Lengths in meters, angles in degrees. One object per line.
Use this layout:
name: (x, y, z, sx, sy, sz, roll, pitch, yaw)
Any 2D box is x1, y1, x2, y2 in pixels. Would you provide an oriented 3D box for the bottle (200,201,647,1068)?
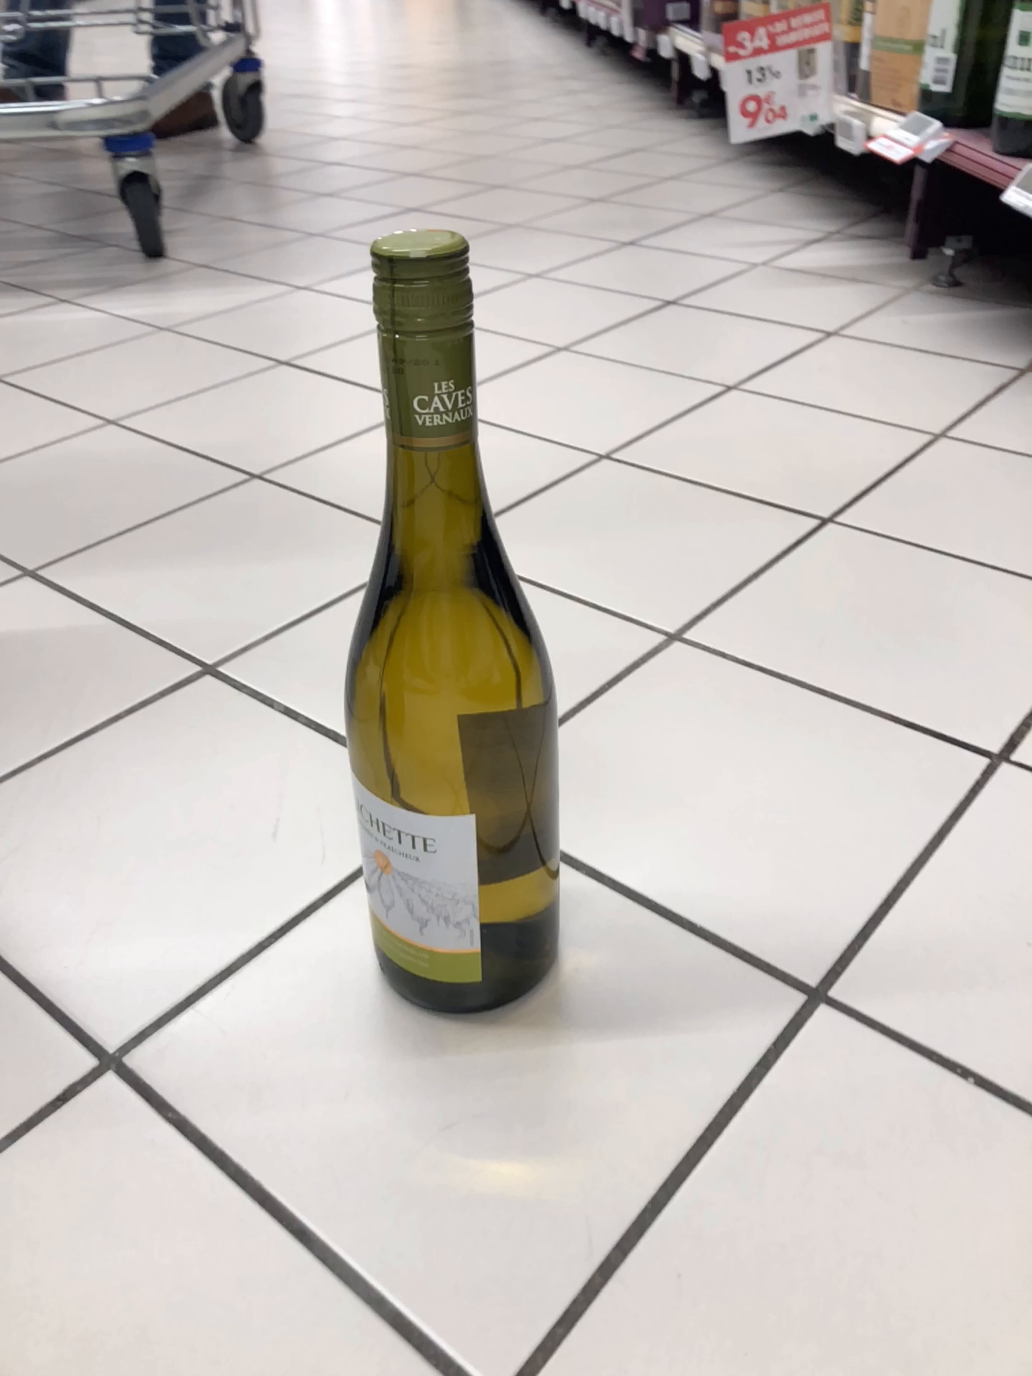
bottle: (-0.022, -0.010, 0.400, 0.090, 0.278, 0.090, -1, 34, 1)
